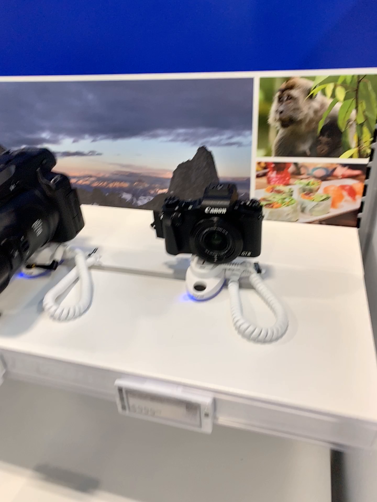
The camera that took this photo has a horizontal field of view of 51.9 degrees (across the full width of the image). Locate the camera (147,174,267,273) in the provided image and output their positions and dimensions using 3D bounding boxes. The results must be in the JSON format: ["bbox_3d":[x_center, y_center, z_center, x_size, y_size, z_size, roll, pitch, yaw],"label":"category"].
[{"bbox_3d":[0.024,-0.033,0.437,0.120,0.089,0.060,3,31,11],"label":"camera"}]

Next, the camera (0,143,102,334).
[{"bbox_3d":[-0.226,-0.035,0.436,0.160,0.109,0.221,5,32,14],"label":"camera"}]
